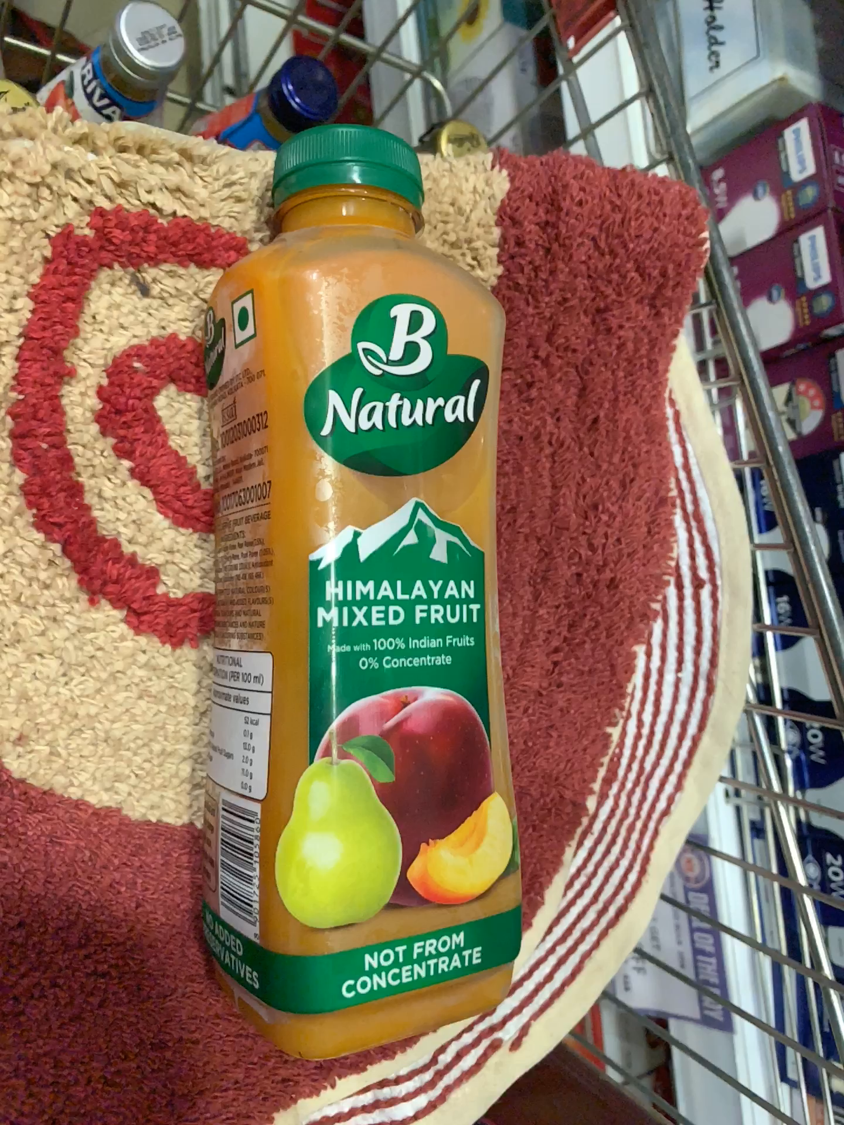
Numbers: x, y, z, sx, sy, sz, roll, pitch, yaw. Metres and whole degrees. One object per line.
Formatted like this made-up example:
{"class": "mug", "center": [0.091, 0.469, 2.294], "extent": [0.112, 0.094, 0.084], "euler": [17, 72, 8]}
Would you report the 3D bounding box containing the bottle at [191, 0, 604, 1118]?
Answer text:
{"class": "bottle", "center": [-0.012, -0.007, 0.223], "extent": [0.070, 0.070, 0.230], "euler": [2, 82, -31]}
